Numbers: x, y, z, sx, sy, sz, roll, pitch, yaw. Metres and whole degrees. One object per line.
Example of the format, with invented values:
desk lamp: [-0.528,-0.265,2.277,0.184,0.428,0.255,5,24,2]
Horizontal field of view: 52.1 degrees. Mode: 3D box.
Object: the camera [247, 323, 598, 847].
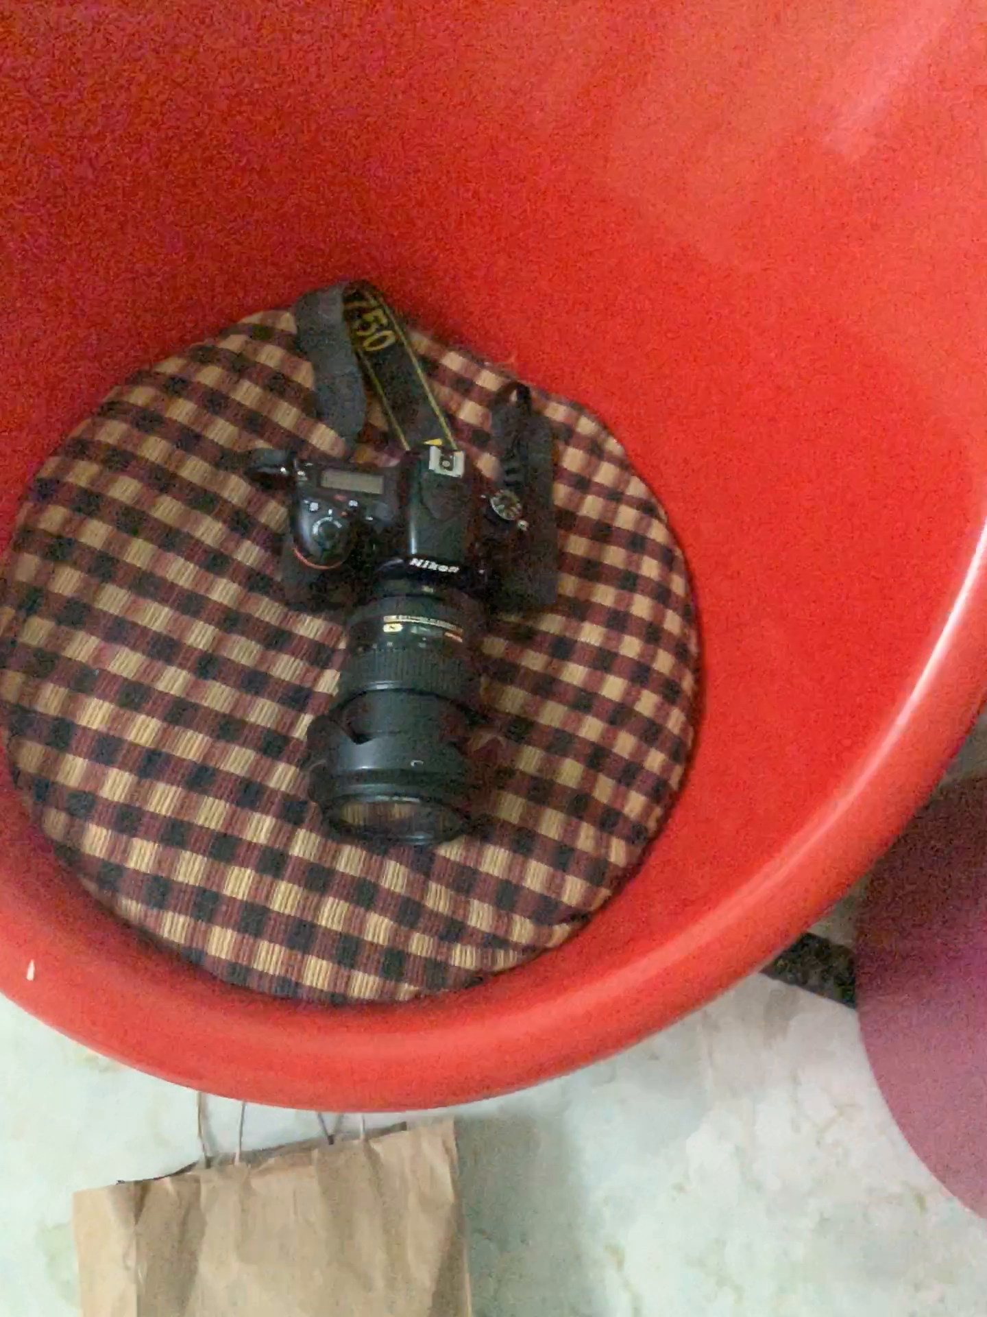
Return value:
camera: [-0.048,-0.030,0.627,0.160,0.180,0.252,9,71,-12]
